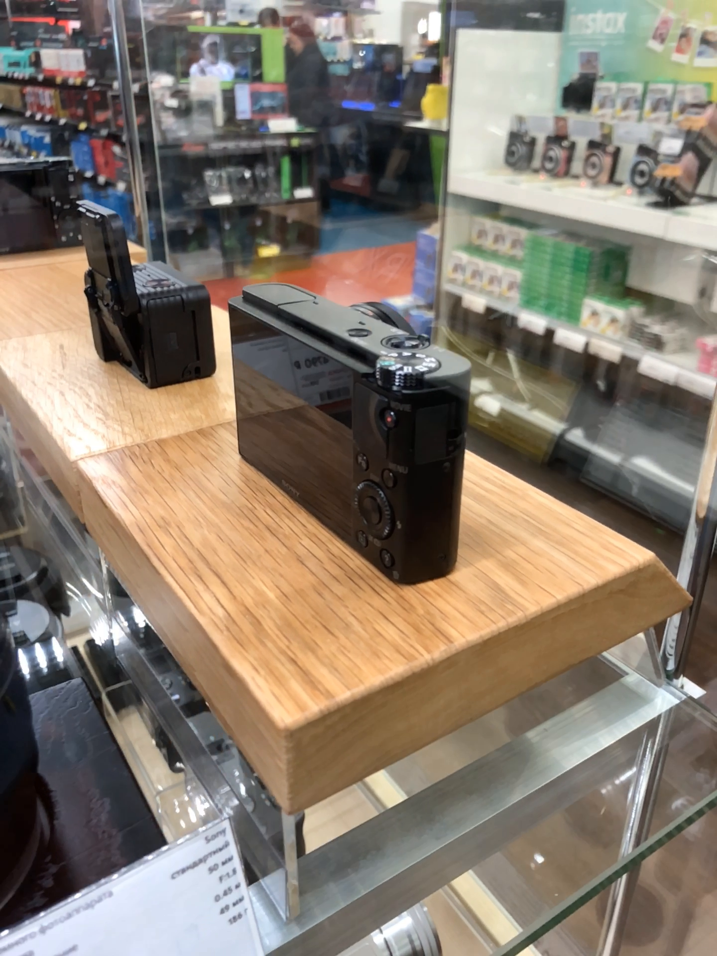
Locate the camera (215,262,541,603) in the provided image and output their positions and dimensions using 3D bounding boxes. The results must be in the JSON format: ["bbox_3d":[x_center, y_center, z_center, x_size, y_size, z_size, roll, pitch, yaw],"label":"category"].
[{"bbox_3d":[-0.001,-0.021,0.239,0.037,0.062,0.106,-17,32,-30],"label":"camera"}]
